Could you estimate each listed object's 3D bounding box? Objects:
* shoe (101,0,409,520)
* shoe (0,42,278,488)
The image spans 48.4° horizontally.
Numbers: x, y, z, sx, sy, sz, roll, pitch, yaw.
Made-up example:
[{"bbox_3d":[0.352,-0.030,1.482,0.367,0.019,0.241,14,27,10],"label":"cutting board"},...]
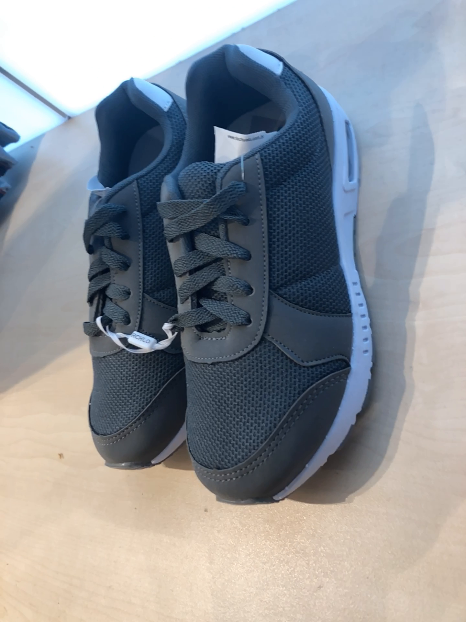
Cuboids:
[{"bbox_3d":[0.021,-0.025,0.273,0.100,0.099,0.240,-10,66,36],"label":"shoe"},{"bbox_3d":[-0.051,-0.020,0.320,0.100,0.099,0.230,-7,68,37],"label":"shoe"}]
